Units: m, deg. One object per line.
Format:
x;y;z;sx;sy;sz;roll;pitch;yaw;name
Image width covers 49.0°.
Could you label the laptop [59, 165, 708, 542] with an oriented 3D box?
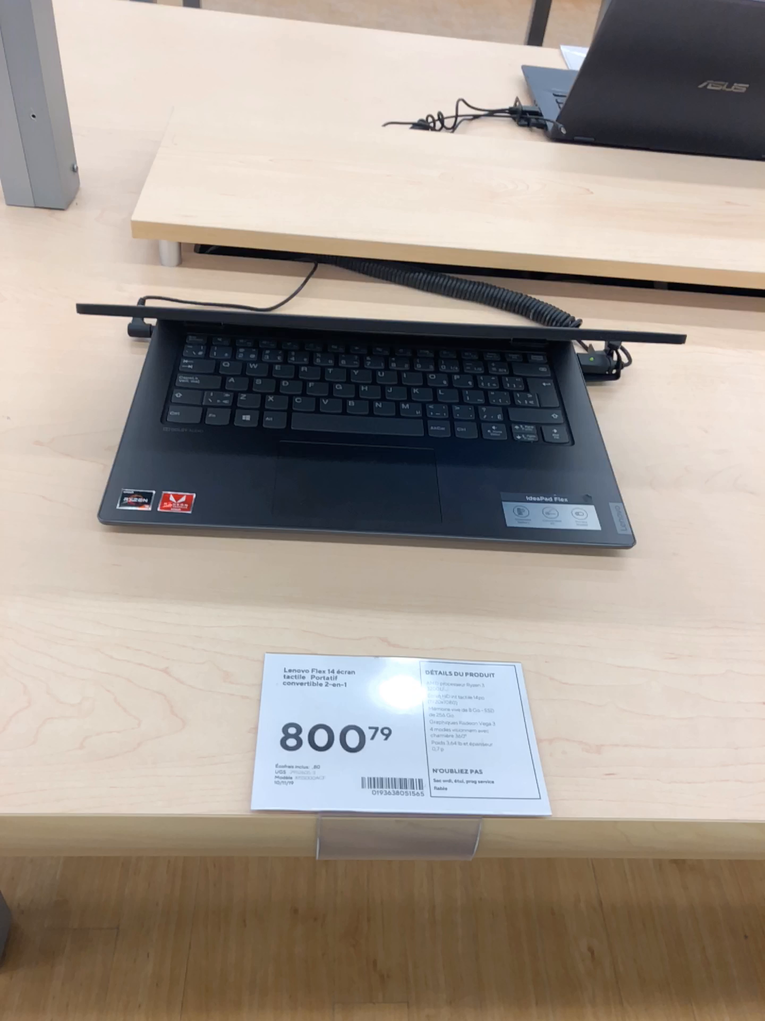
-0.002;-0.109;0.552;0.331;0.121;0.229;3;44;-5;laptop
